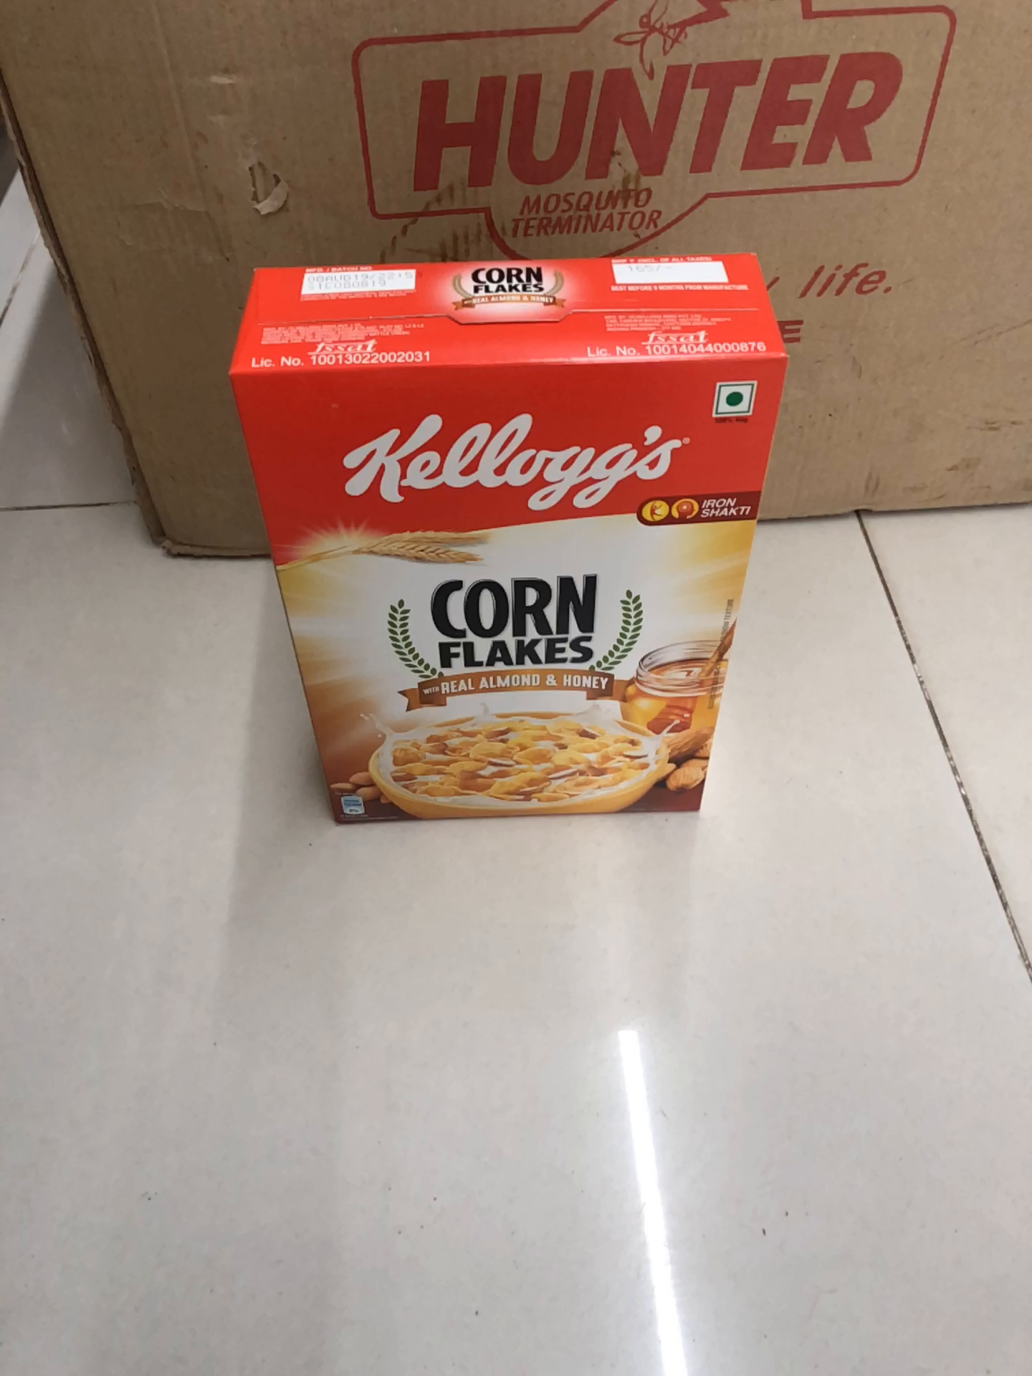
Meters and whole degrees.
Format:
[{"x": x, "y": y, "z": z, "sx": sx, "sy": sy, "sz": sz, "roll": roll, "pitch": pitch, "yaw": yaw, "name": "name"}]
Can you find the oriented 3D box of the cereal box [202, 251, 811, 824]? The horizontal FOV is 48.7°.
[{"x": -0.003, "y": -0.047, "z": 0.496, "sx": 0.200, "sy": 0.259, "sz": 0.070, "roll": -2, "pitch": 50, "yaw": -1, "name": "cereal box"}]
